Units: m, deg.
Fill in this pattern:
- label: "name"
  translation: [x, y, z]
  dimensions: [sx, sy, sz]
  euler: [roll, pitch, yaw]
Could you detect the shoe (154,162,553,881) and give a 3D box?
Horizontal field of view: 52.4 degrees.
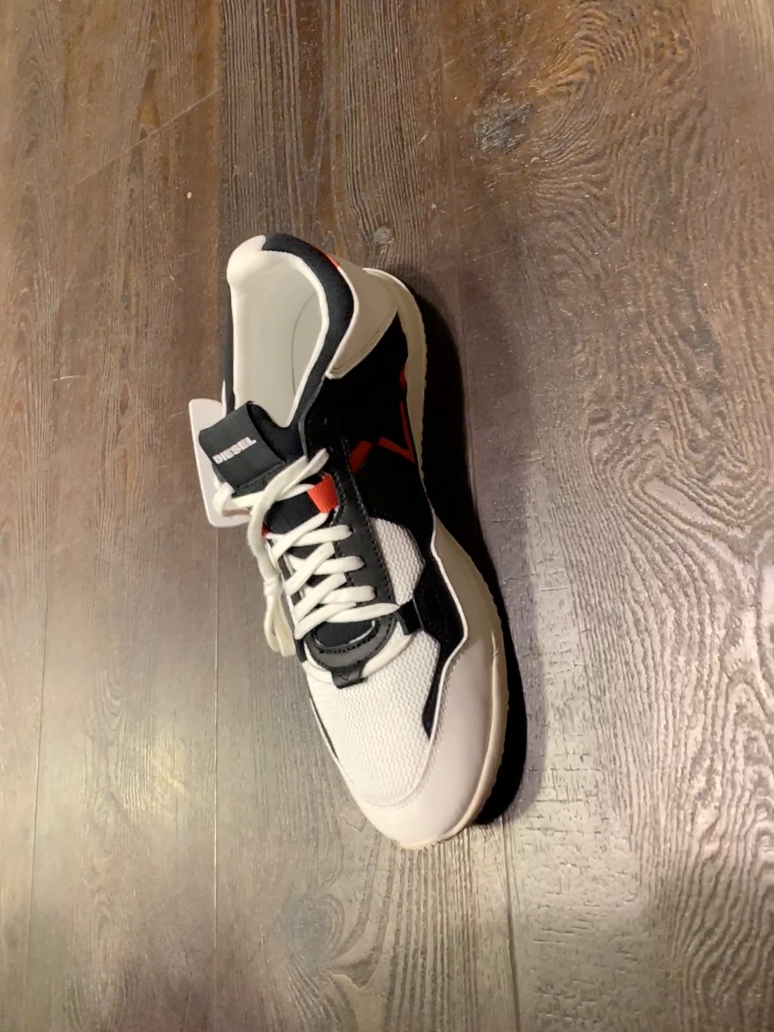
- label: "shoe"
  translation: [-0.025, 0.002, 0.388]
  dimensions: [0.110, 0.109, 0.301]
  euler: [-22, 68, 31]
